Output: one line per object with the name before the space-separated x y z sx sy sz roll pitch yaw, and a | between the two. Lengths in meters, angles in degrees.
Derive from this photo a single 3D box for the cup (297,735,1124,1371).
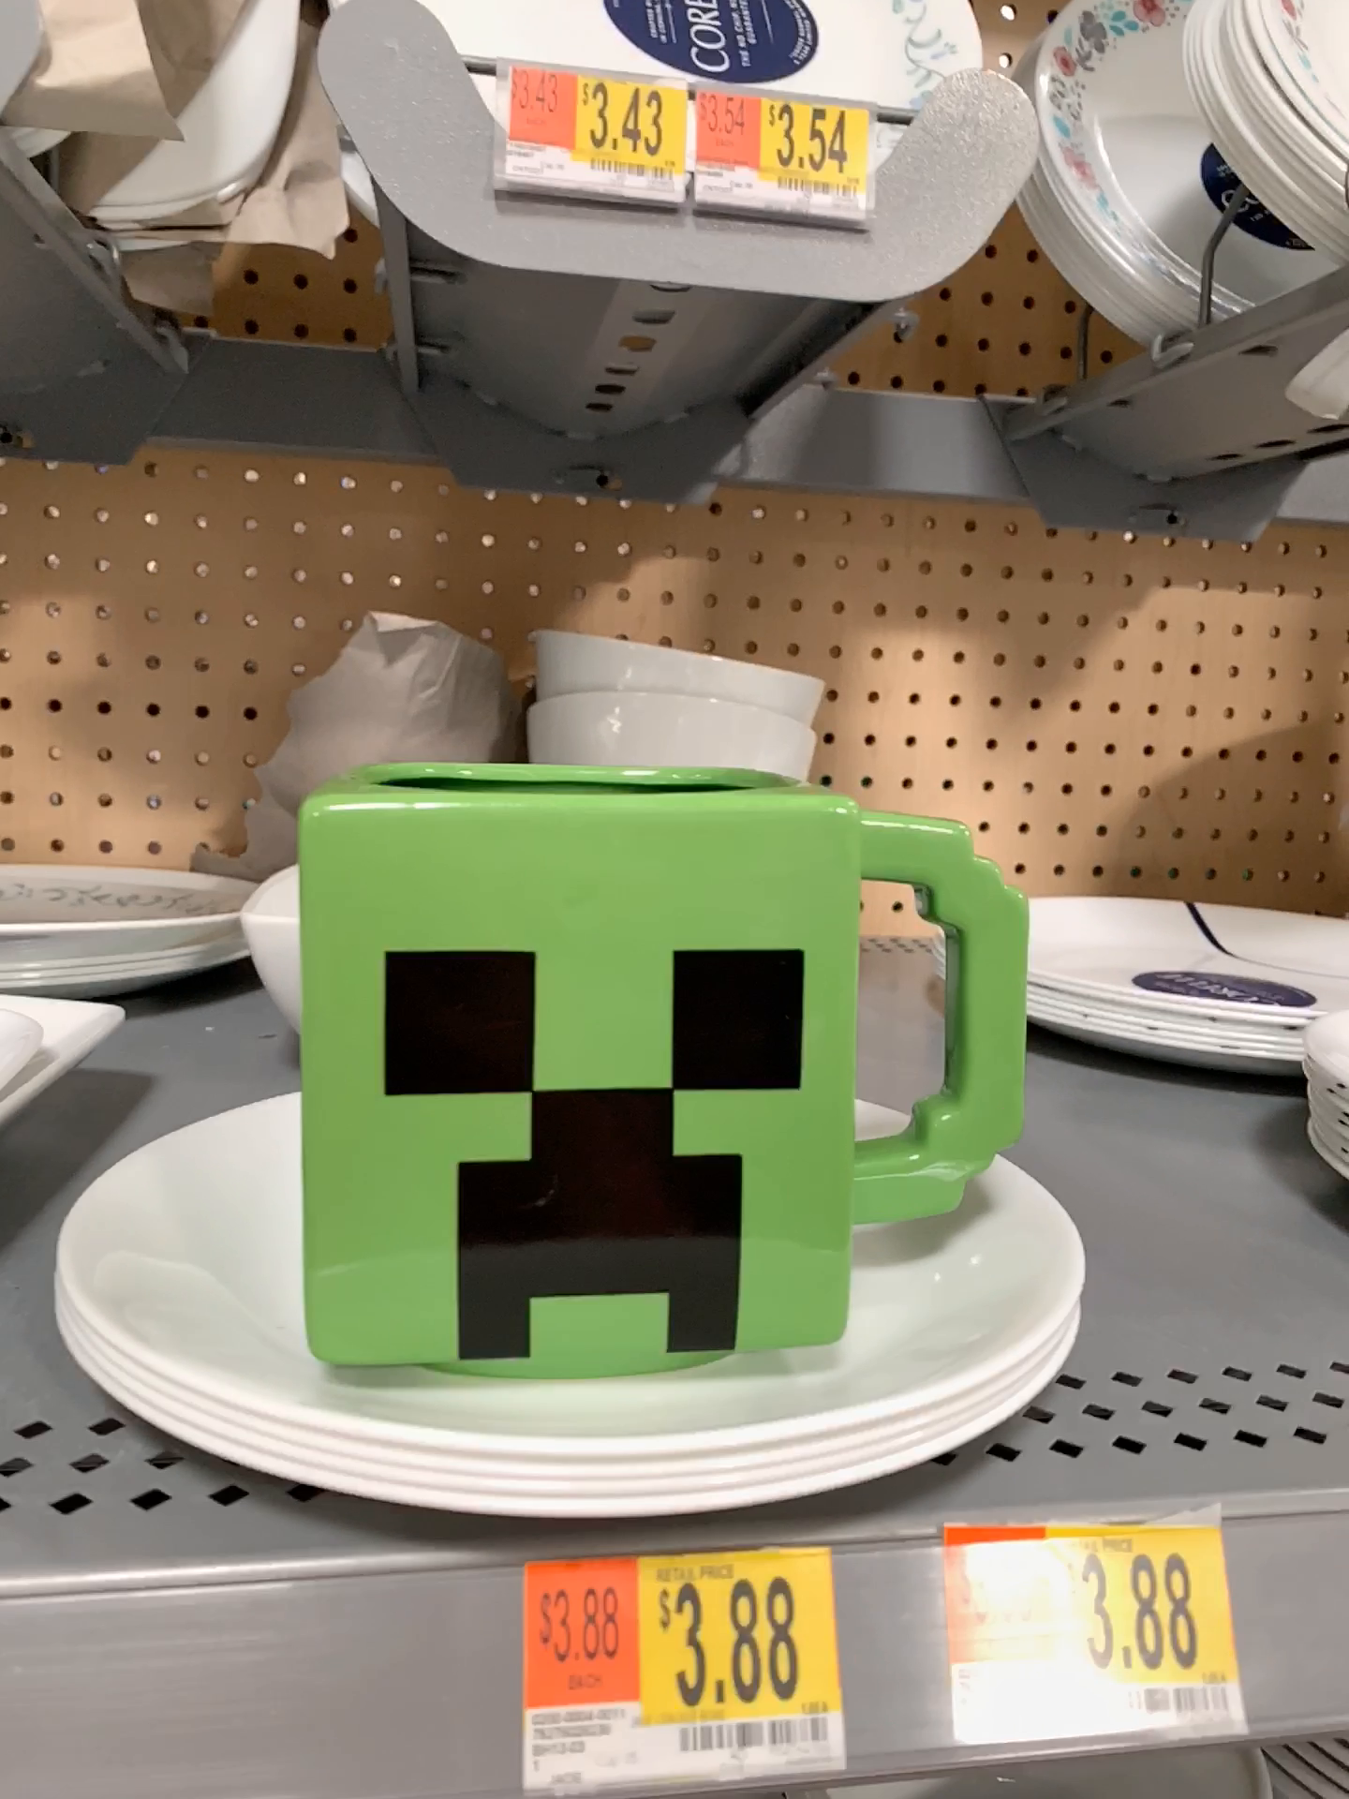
cup | 0.000 0.023 0.296 0.142 0.104 0.106 1 9 -8
